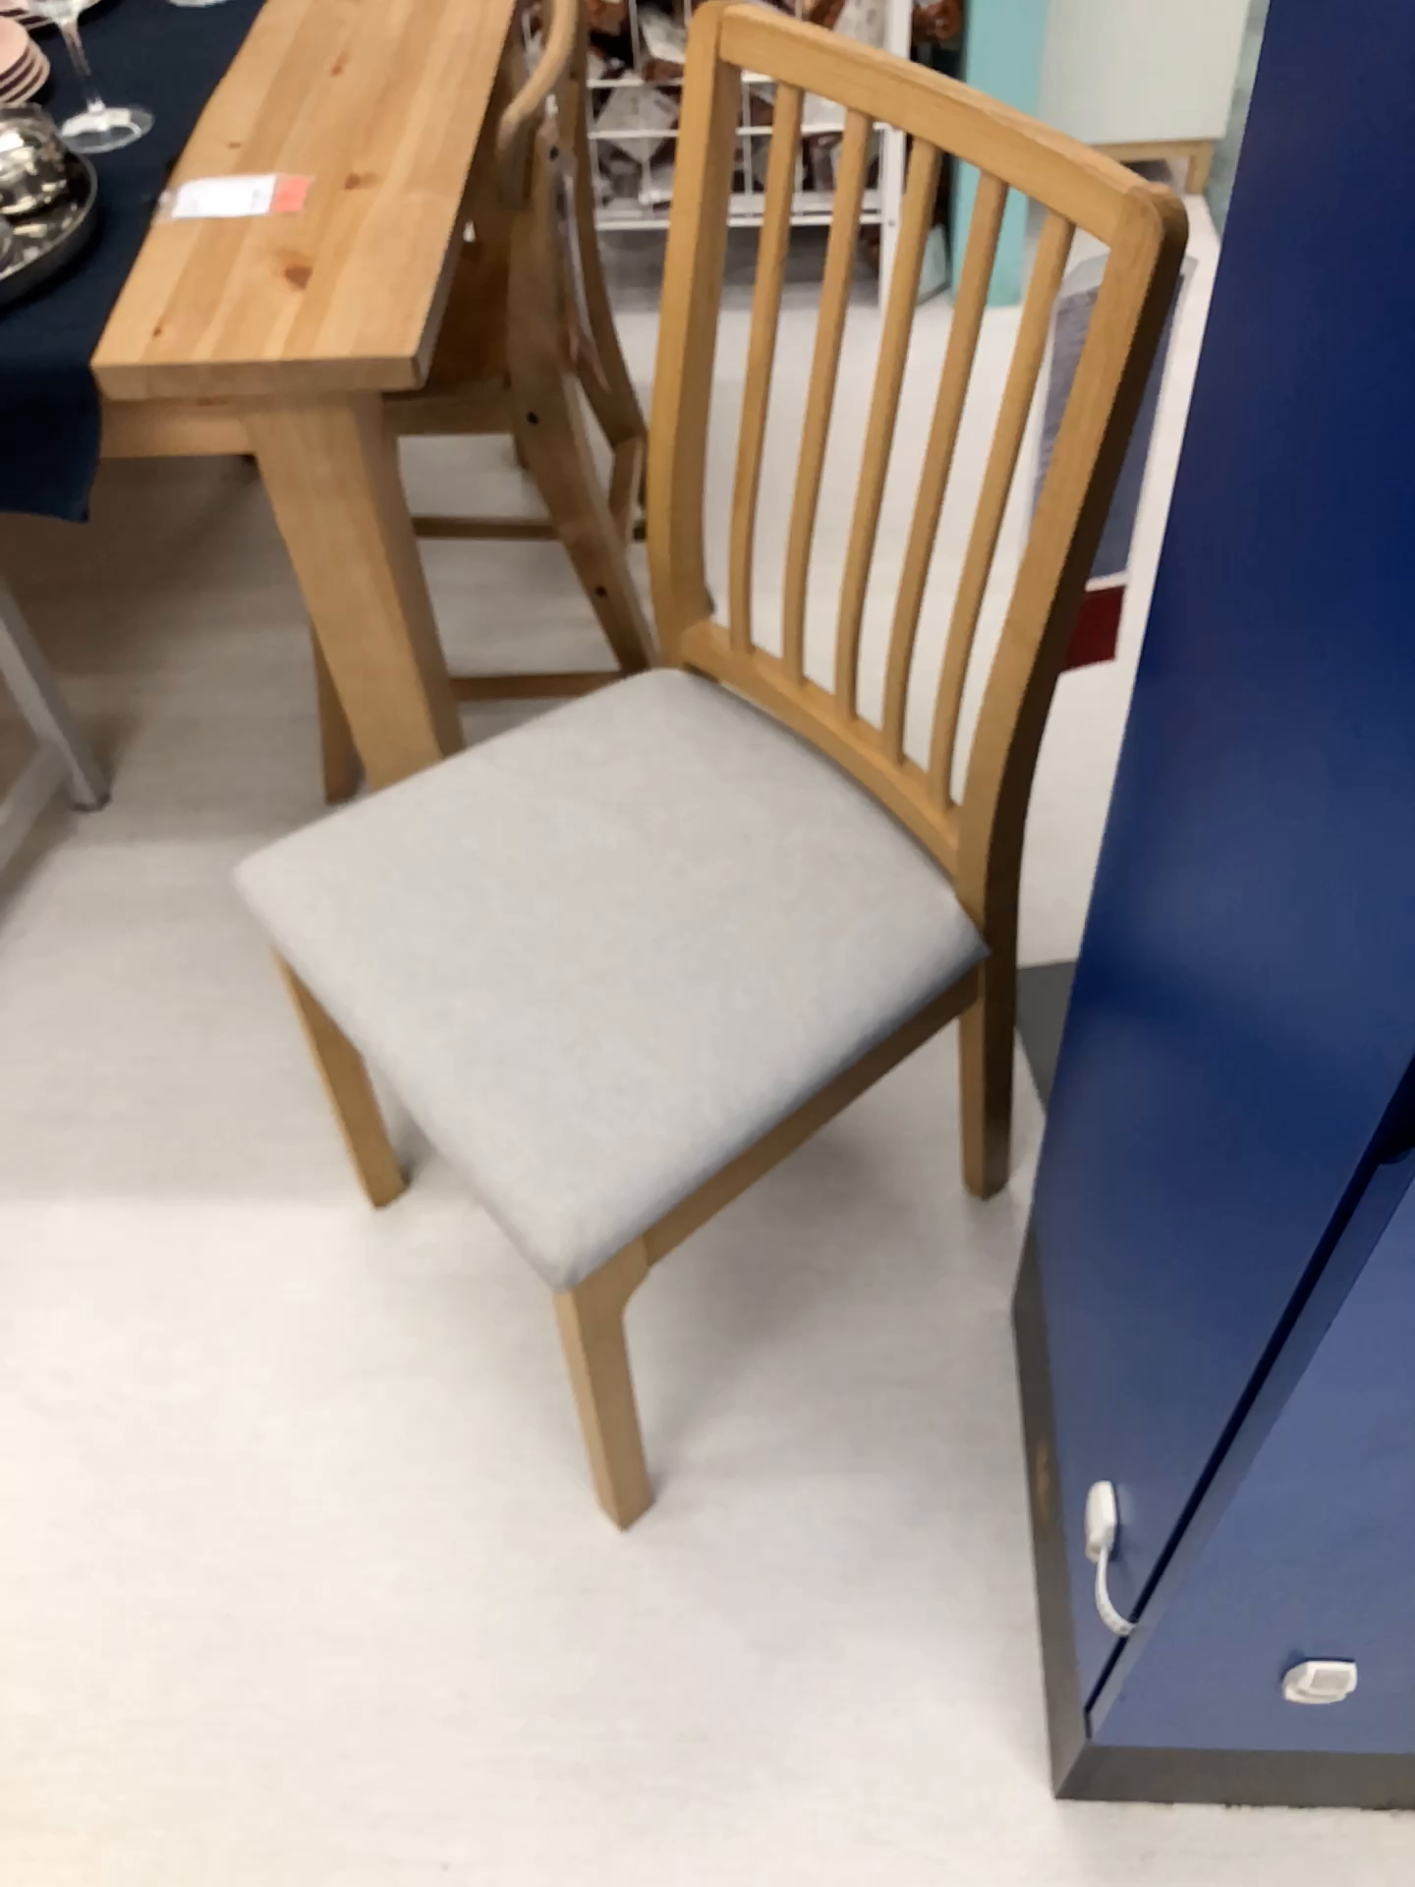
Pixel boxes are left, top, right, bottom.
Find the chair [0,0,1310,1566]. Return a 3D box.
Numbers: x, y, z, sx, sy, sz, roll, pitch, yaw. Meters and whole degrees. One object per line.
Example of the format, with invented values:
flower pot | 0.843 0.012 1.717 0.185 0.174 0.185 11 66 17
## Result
chair | -0.043 -0.060 1.066 0.511 0.855 0.452 -33 56 -20
